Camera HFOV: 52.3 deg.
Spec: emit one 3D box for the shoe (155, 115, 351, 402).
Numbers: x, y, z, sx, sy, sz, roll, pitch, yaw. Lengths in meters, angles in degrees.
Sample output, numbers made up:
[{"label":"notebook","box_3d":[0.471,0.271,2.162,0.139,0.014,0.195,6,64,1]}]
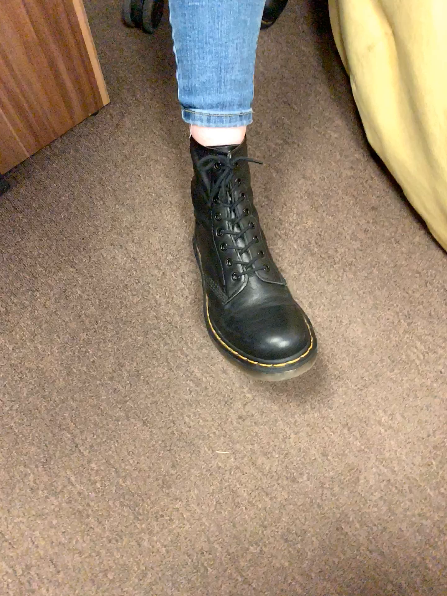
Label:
[{"label":"shoe","box_3d":[0.014,-0.062,0.503,0.120,0.150,0.290,-12,45,-6]}]
